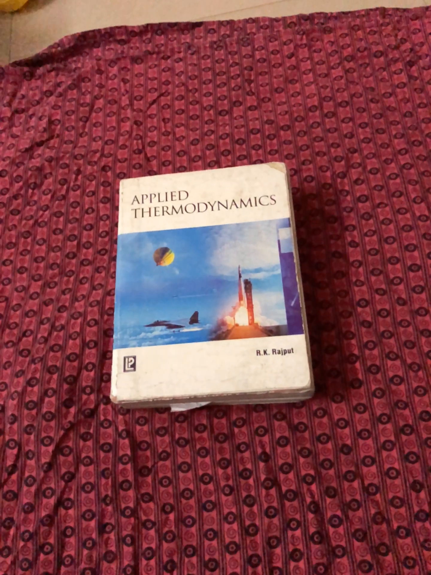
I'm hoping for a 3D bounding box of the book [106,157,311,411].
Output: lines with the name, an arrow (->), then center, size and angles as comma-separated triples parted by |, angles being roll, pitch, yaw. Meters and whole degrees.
book -> -0.009, -0.006, 0.485 | 0.178, 0.060, 0.240 | -4, 68, 5
